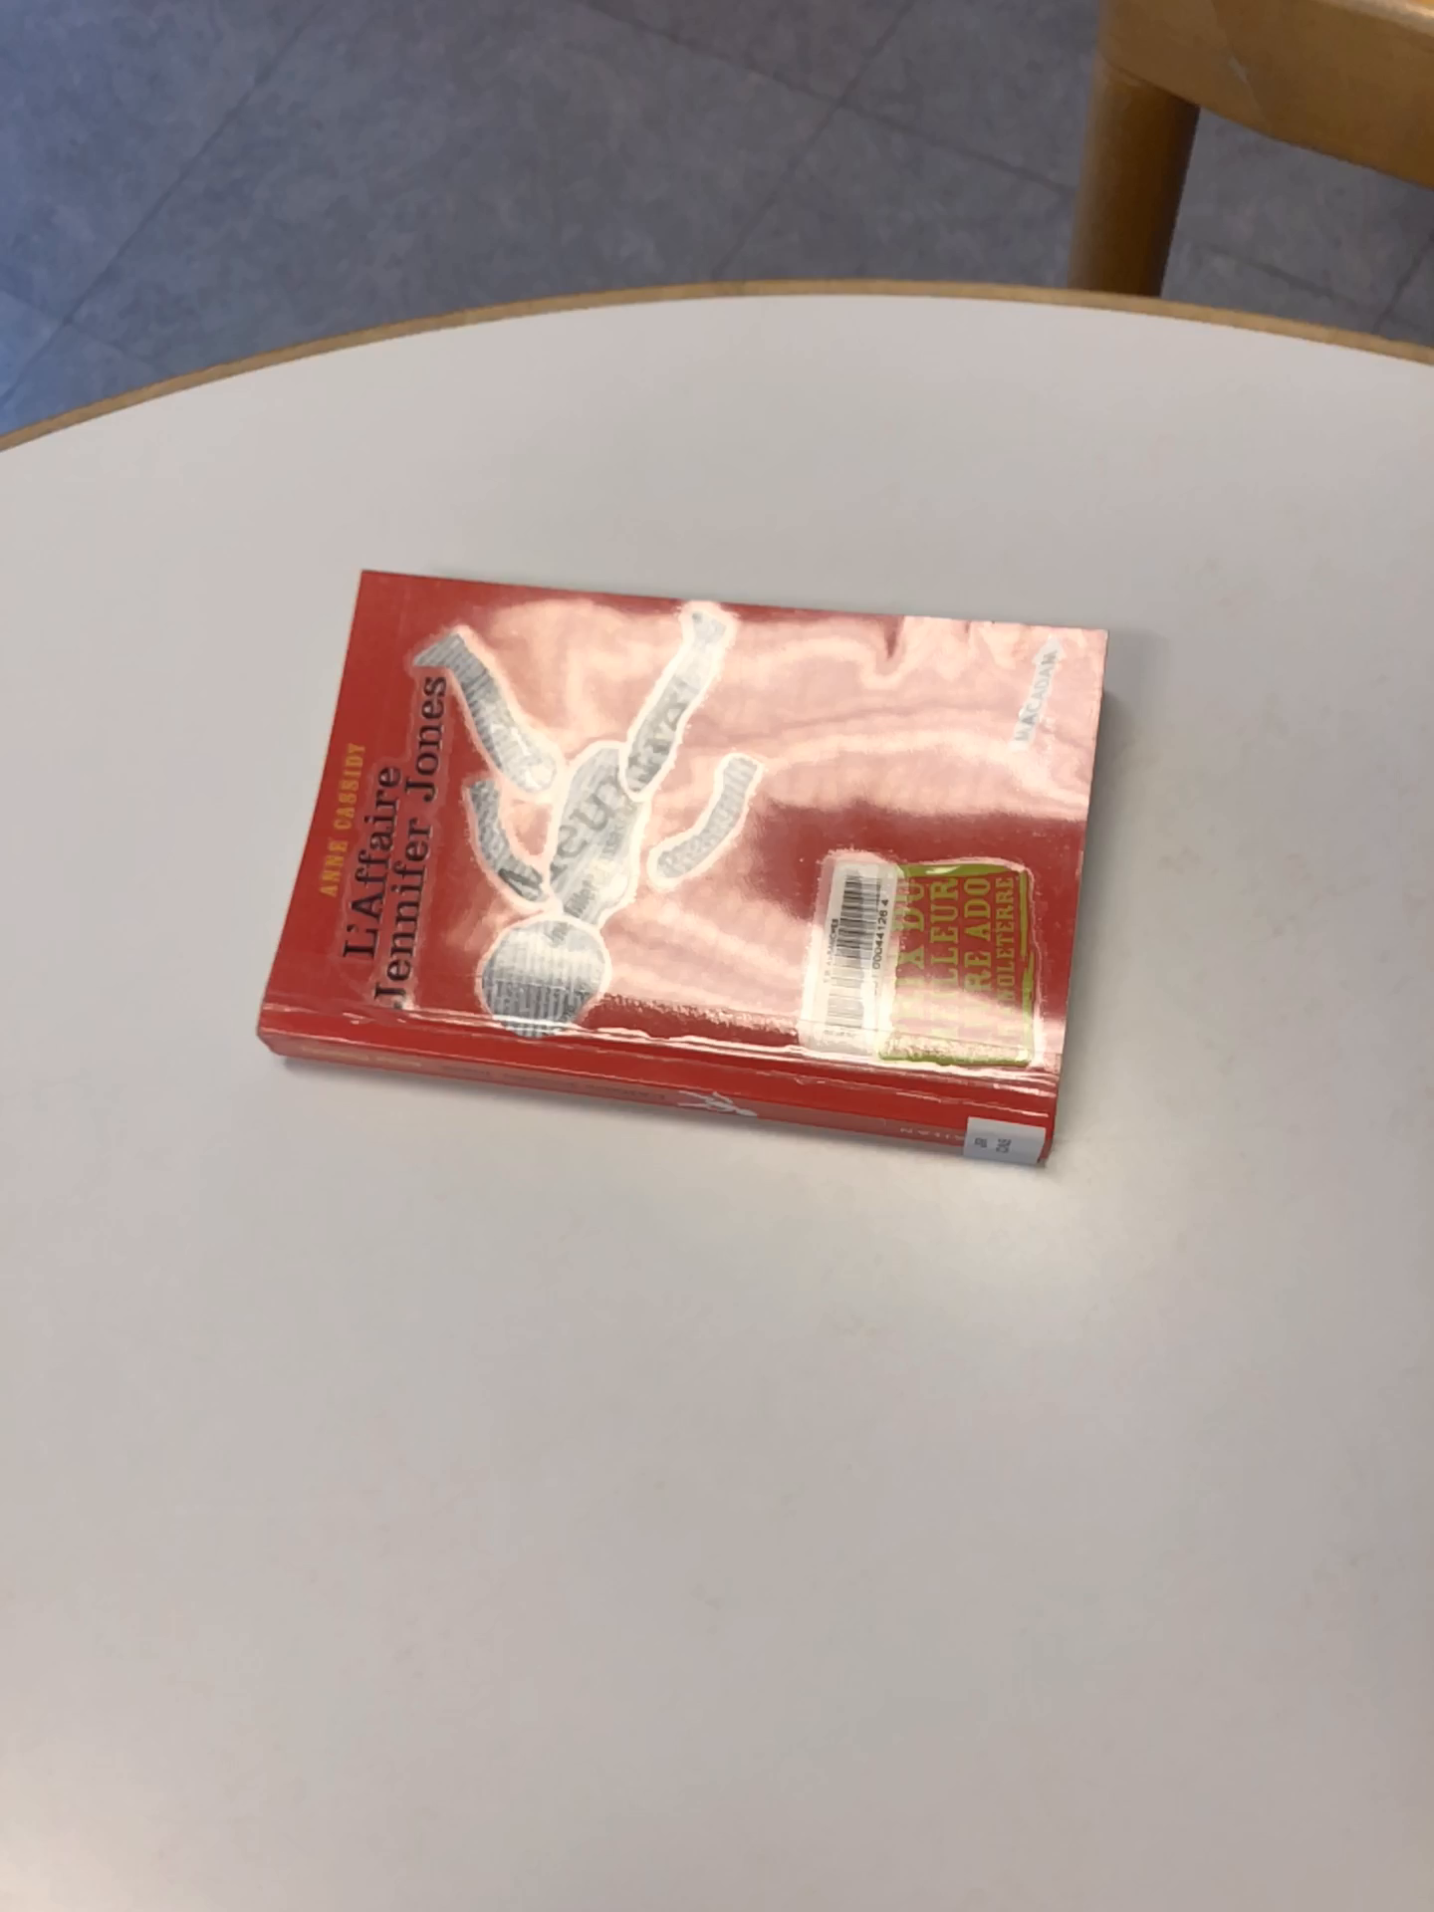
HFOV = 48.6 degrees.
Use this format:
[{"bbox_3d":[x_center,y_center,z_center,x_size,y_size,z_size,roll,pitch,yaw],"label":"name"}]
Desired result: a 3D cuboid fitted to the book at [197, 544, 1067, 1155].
[{"bbox_3d":[-0.020,-0.032,0.415,0.202,0.027,0.136,7,76,9],"label":"book"}]
